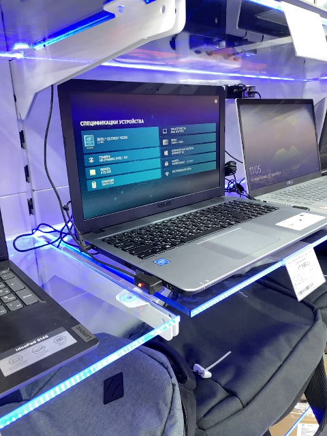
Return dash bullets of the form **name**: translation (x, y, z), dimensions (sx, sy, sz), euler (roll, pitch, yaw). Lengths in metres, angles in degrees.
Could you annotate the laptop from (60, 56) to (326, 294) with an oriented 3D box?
- **laptop**: translation (0.079, -0.098, 0.539), dimensions (0.372, 0.232, 0.263), euler (-16, 22, -39)
